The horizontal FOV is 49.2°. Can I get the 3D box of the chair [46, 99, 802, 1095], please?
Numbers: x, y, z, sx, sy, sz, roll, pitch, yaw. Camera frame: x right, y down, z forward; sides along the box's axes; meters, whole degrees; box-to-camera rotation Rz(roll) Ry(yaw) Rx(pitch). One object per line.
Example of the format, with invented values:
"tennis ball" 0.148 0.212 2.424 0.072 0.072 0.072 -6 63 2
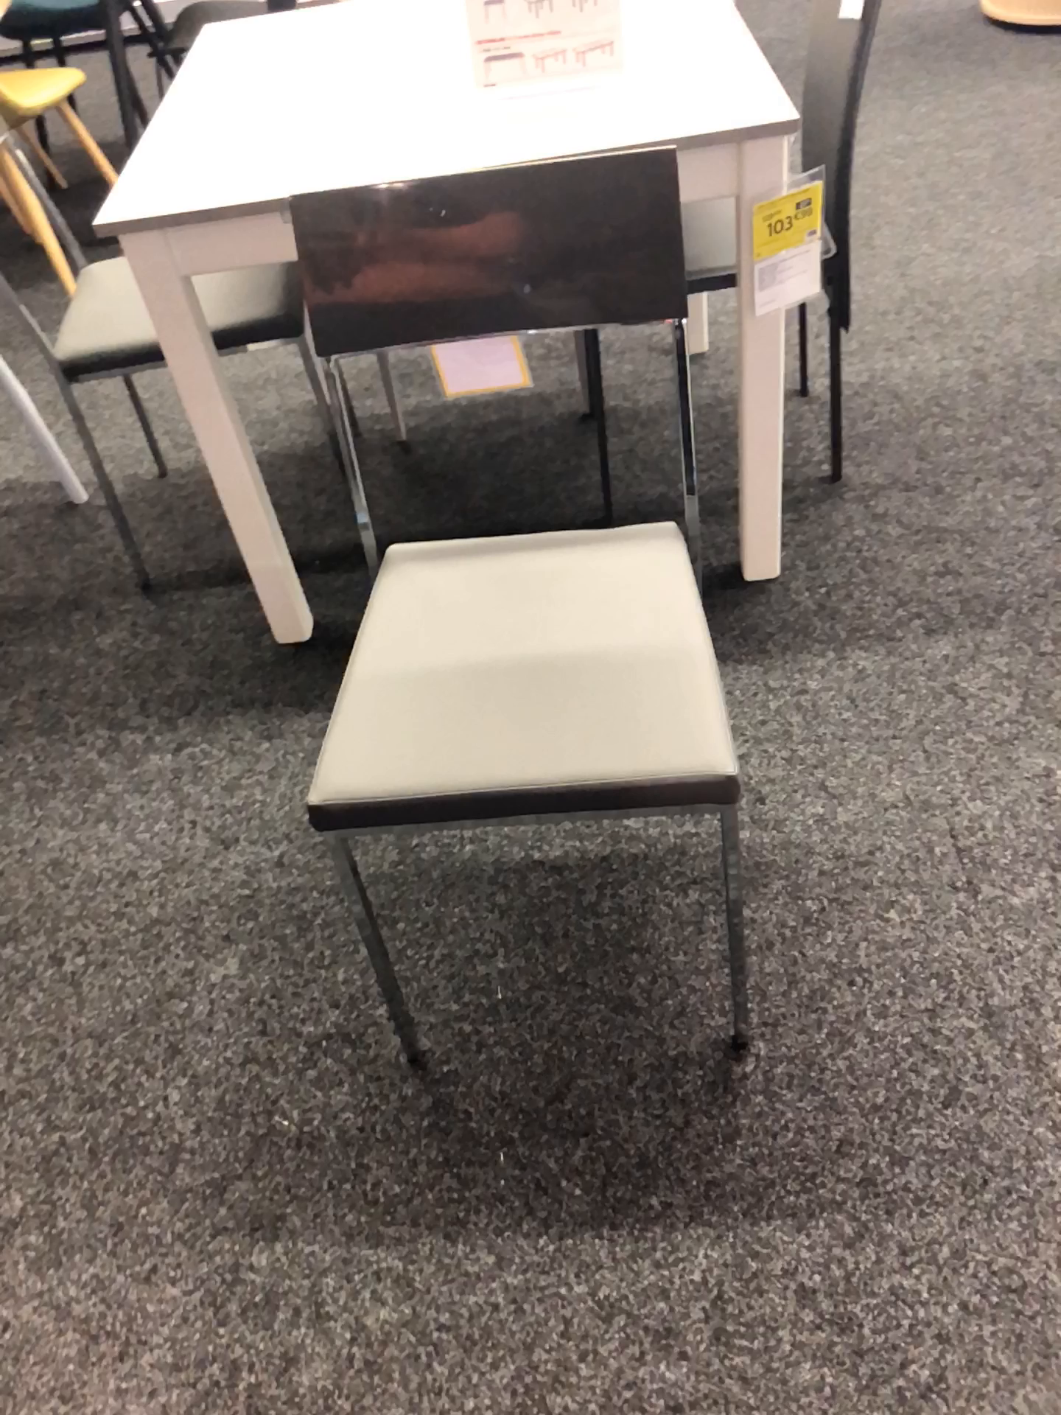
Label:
"chair" -0.012 -0.064 1.230 0.490 0.856 0.553 -5 44 6
